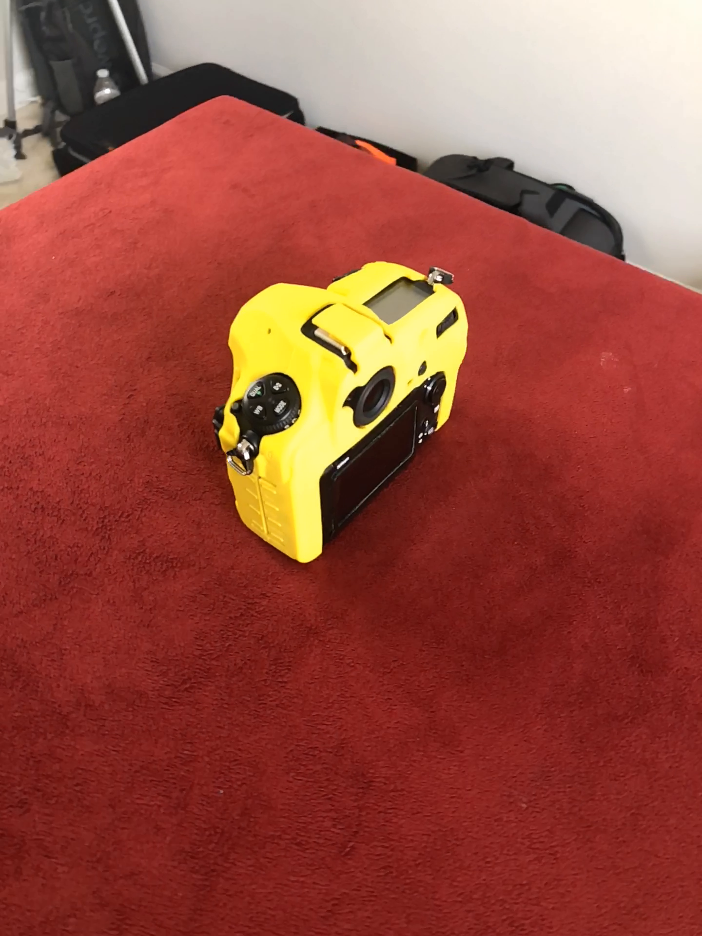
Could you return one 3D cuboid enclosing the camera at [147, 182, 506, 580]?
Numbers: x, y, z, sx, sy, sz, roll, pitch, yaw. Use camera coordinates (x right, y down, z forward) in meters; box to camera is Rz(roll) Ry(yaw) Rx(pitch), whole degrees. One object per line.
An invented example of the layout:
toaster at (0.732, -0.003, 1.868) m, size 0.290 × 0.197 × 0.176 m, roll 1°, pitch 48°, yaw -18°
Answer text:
camera at (-0.005, -0.048, 0.406) m, size 0.082 × 0.116 × 0.160 m, roll 32°, pitch 58°, yaw 25°
